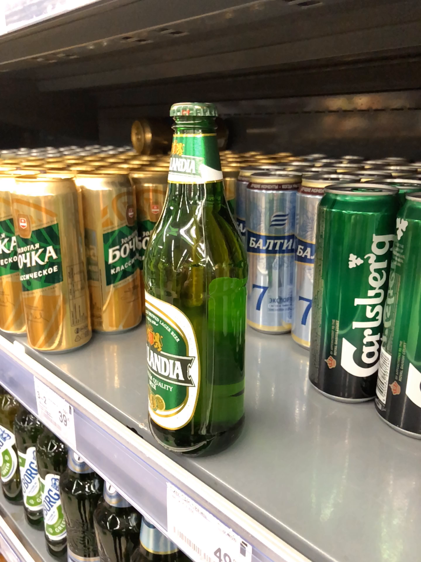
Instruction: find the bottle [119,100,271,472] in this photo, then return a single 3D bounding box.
[{"bbox_3d":[-0.011,0.001,0.296,0.063,0.211,0.070,-8,19,-25],"label":"bottle"}]
